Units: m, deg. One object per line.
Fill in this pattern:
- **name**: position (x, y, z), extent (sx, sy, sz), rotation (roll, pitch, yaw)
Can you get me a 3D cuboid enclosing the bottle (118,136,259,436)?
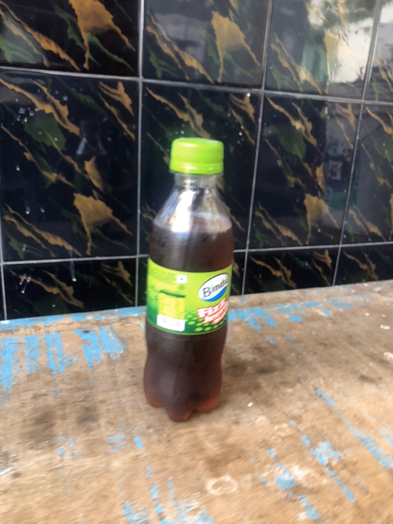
- **bottle**: position (-0.010, 0.012, 0.292), extent (0.060, 0.179, 0.060), rotation (3, 18, -1)
